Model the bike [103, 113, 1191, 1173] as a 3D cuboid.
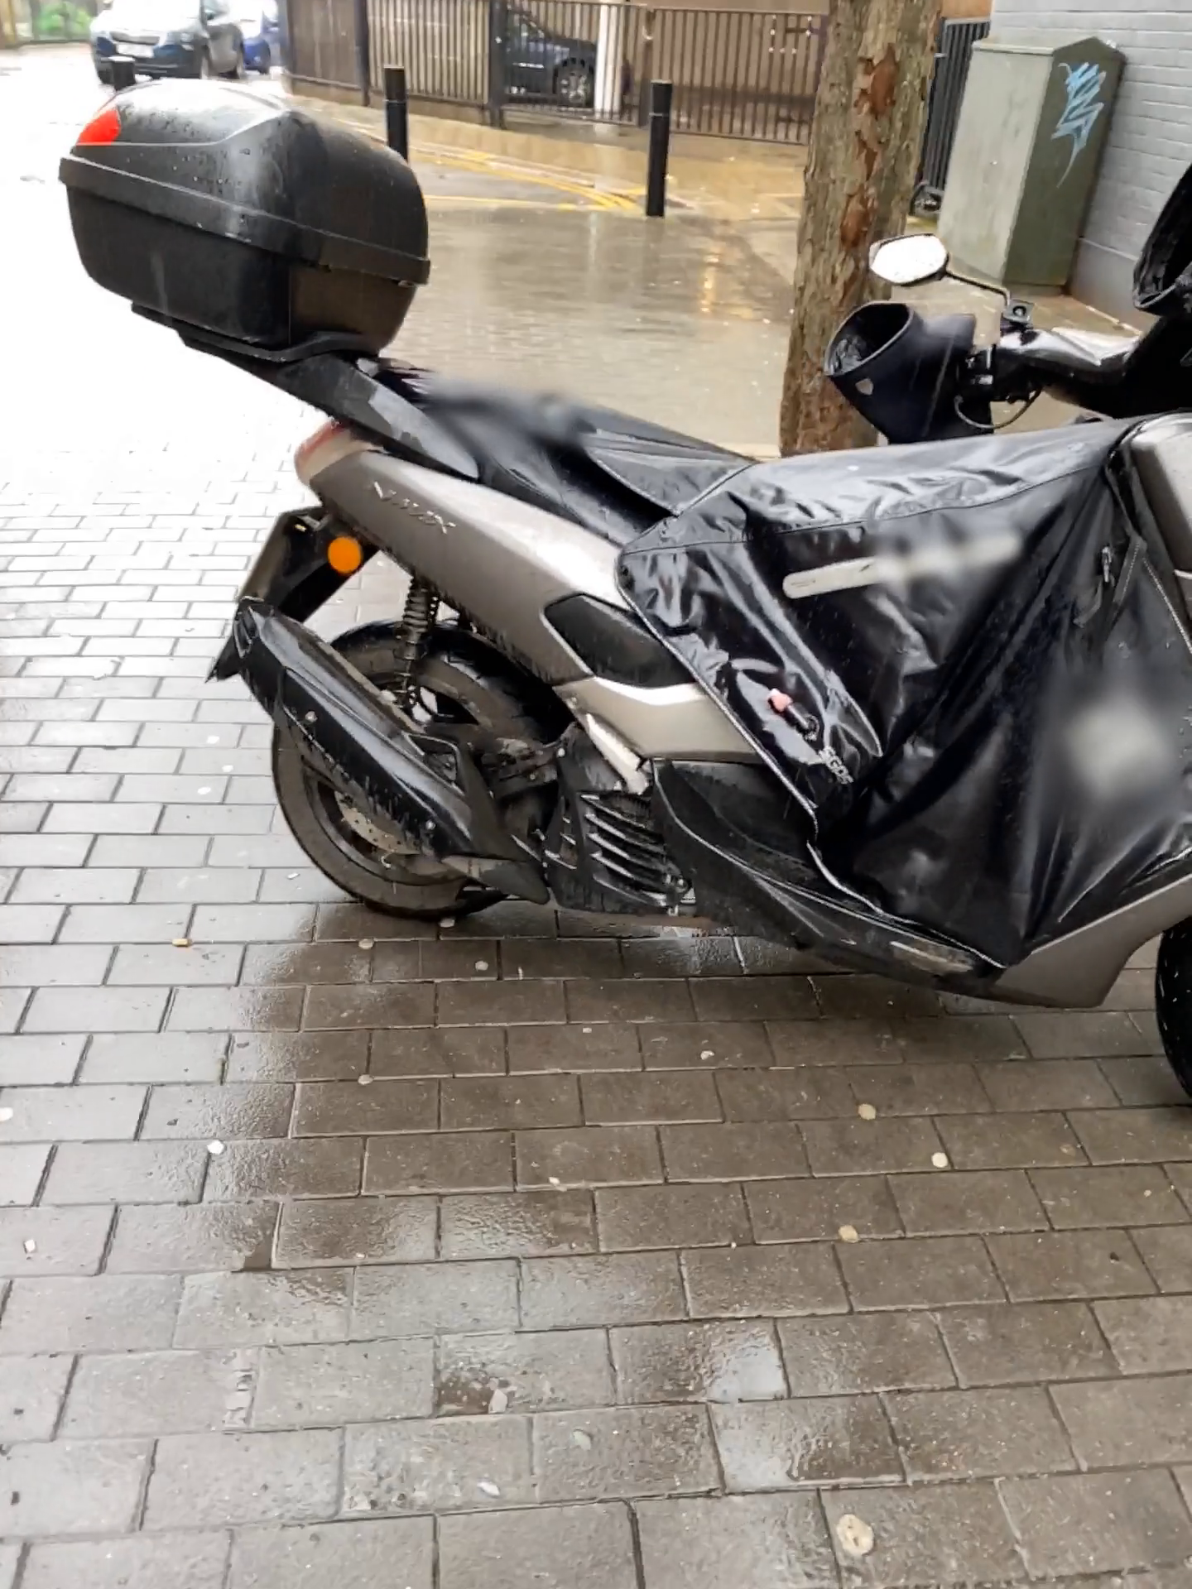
[{"bbox_3d":[0.392,-0.270,1.794,1.731,1.121,0.764,8,32,6],"label":"bike"}]
